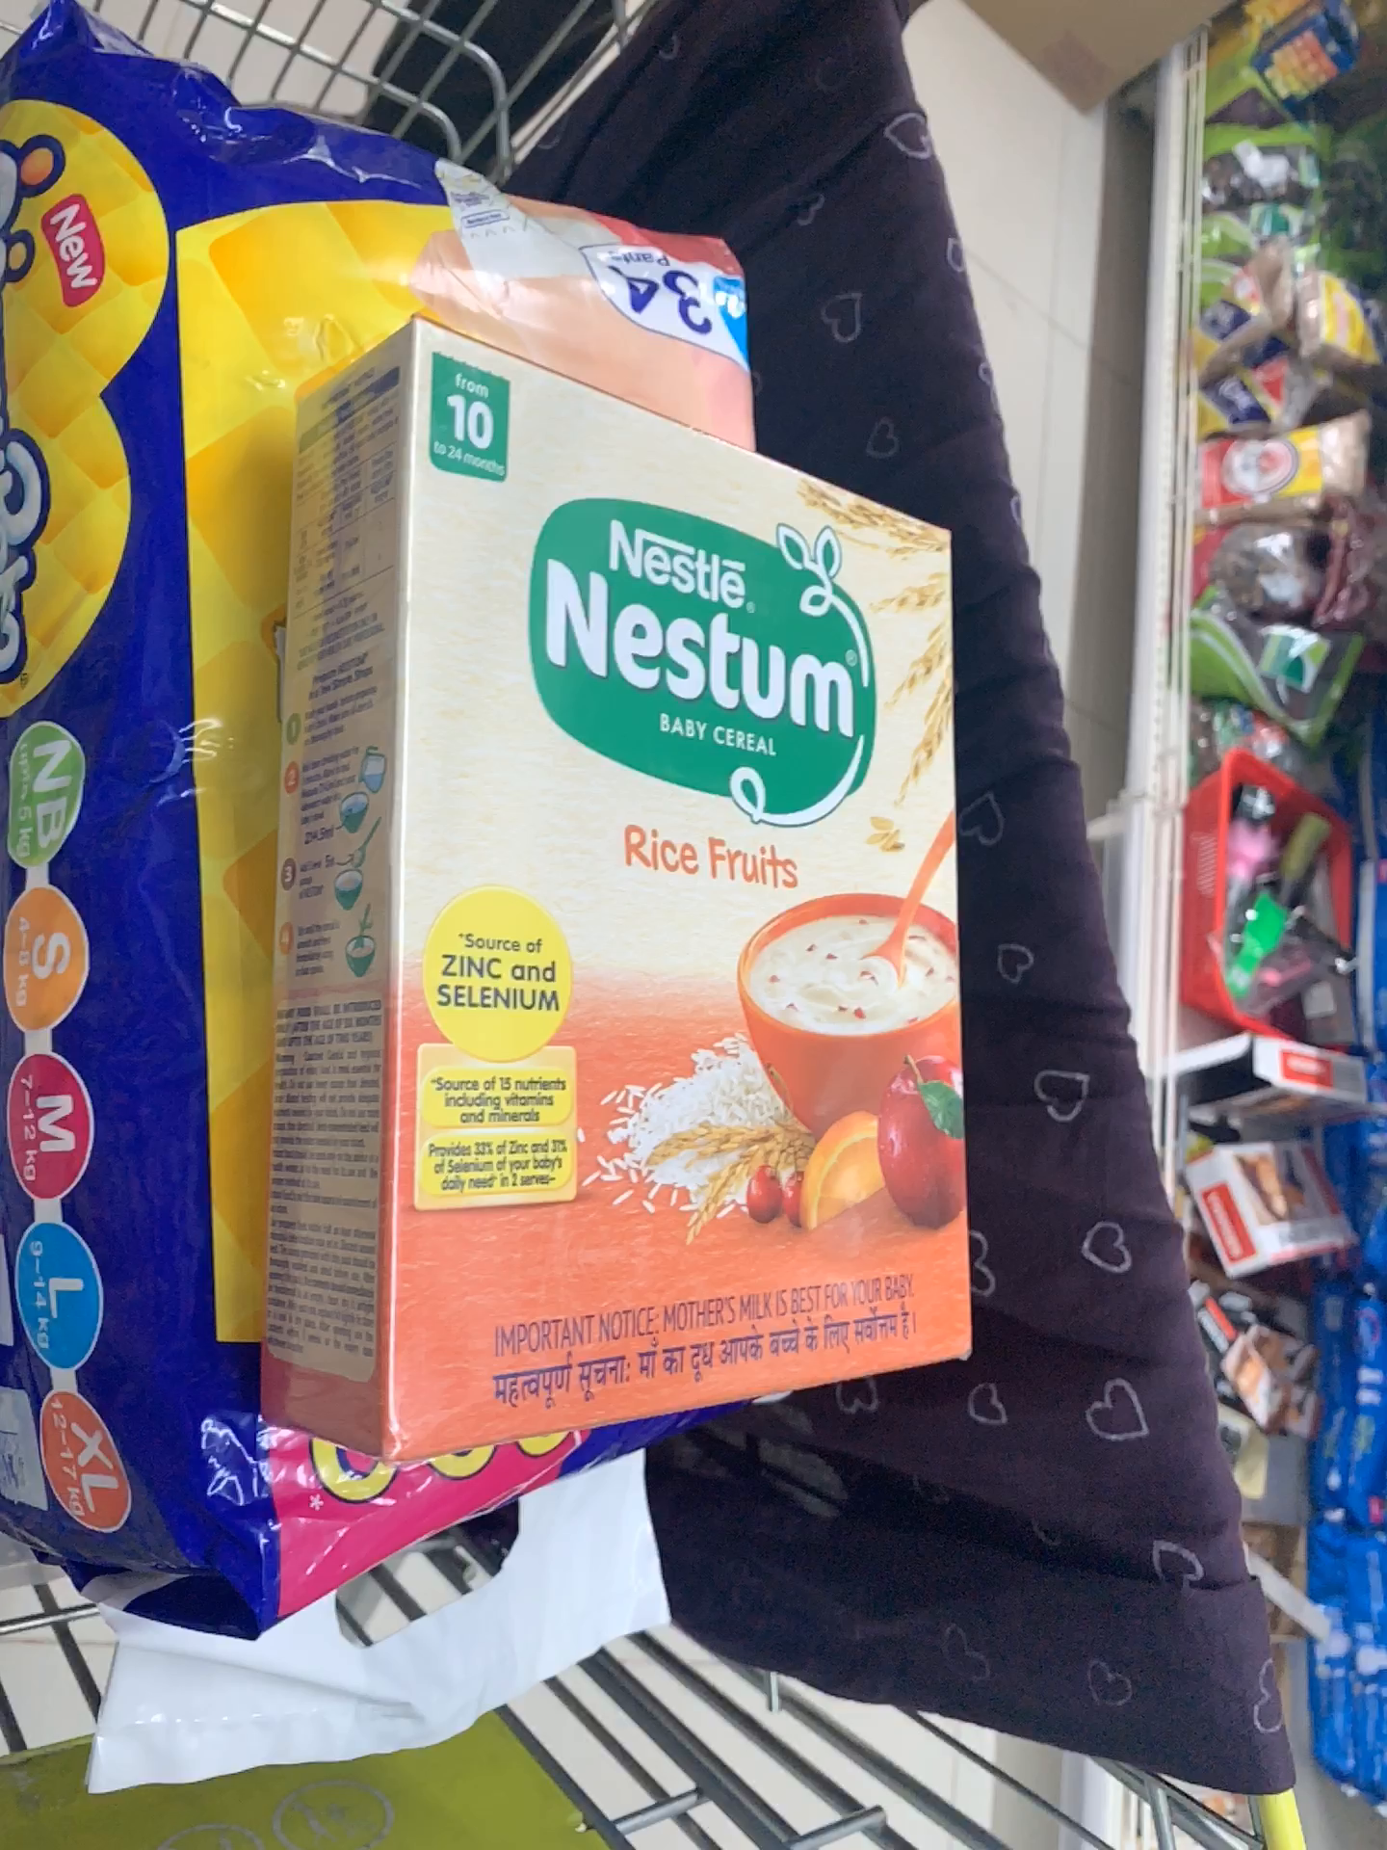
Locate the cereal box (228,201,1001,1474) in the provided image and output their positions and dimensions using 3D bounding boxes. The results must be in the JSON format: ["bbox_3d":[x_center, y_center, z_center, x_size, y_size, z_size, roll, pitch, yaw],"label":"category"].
[{"bbox_3d":[-0.006,-0.011,0.304,0.161,0.050,0.210,6,82,-40],"label":"cereal box"}]
